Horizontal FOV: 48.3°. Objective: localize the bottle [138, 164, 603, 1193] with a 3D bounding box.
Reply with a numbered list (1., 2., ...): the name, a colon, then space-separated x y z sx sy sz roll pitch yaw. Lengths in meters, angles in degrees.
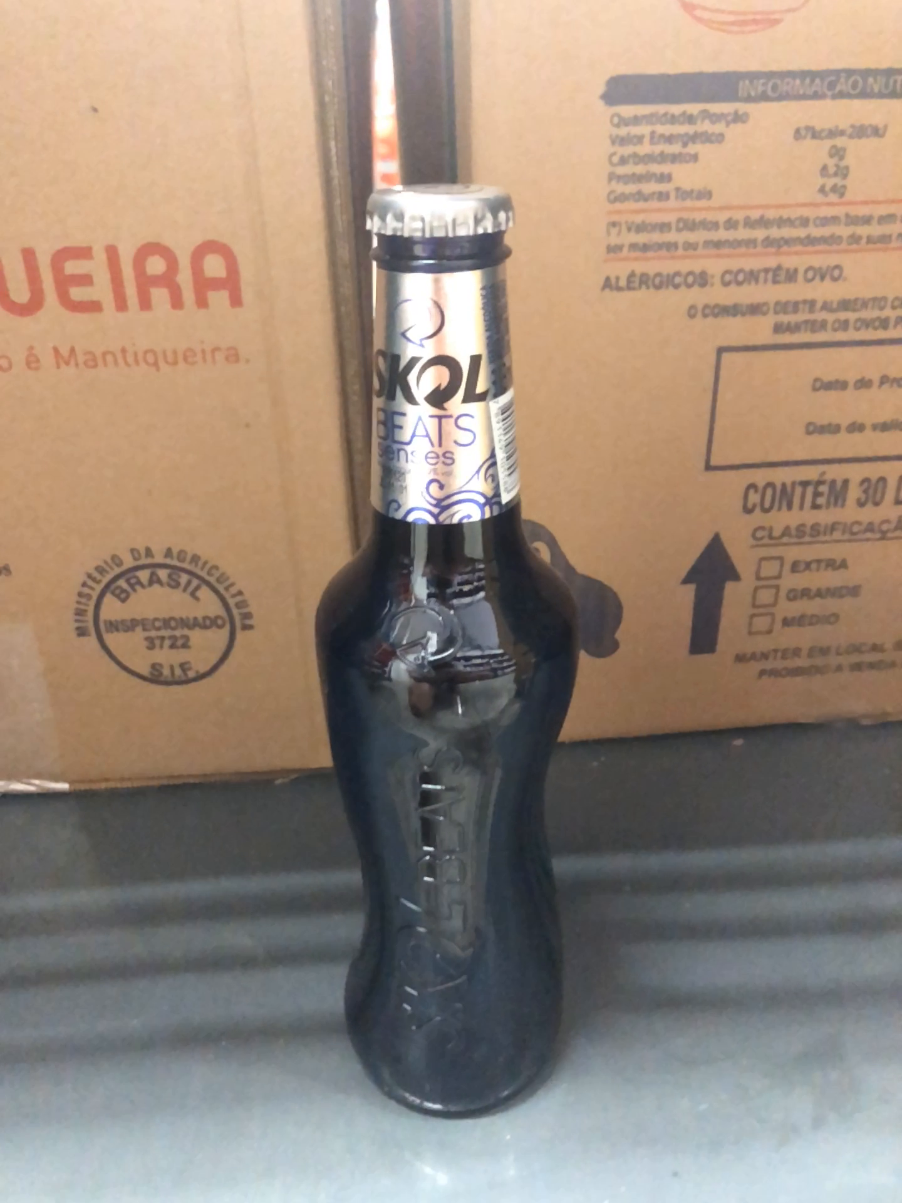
1. bottle: -0.007 0.031 0.238 0.070 0.238 0.071 -2 28 1
